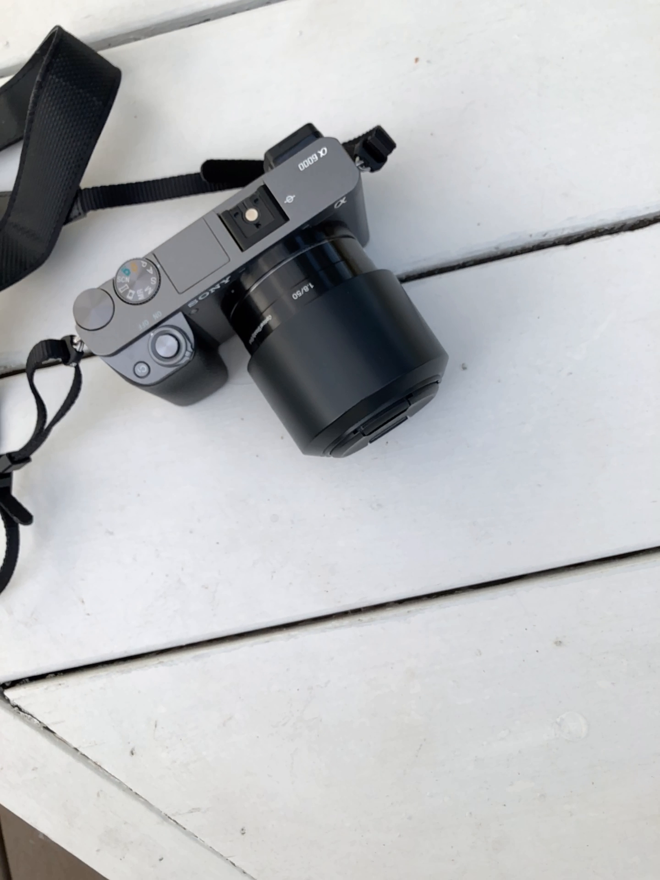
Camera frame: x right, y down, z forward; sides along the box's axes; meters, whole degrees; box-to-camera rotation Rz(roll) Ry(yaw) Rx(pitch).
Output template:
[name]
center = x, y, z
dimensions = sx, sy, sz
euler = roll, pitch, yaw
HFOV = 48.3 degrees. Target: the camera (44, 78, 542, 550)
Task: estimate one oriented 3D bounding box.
[camera]
center = -0.013, -0.043, 0.295
dimensions = 0.140, 0.070, 0.110
euler = -35, 83, 0
